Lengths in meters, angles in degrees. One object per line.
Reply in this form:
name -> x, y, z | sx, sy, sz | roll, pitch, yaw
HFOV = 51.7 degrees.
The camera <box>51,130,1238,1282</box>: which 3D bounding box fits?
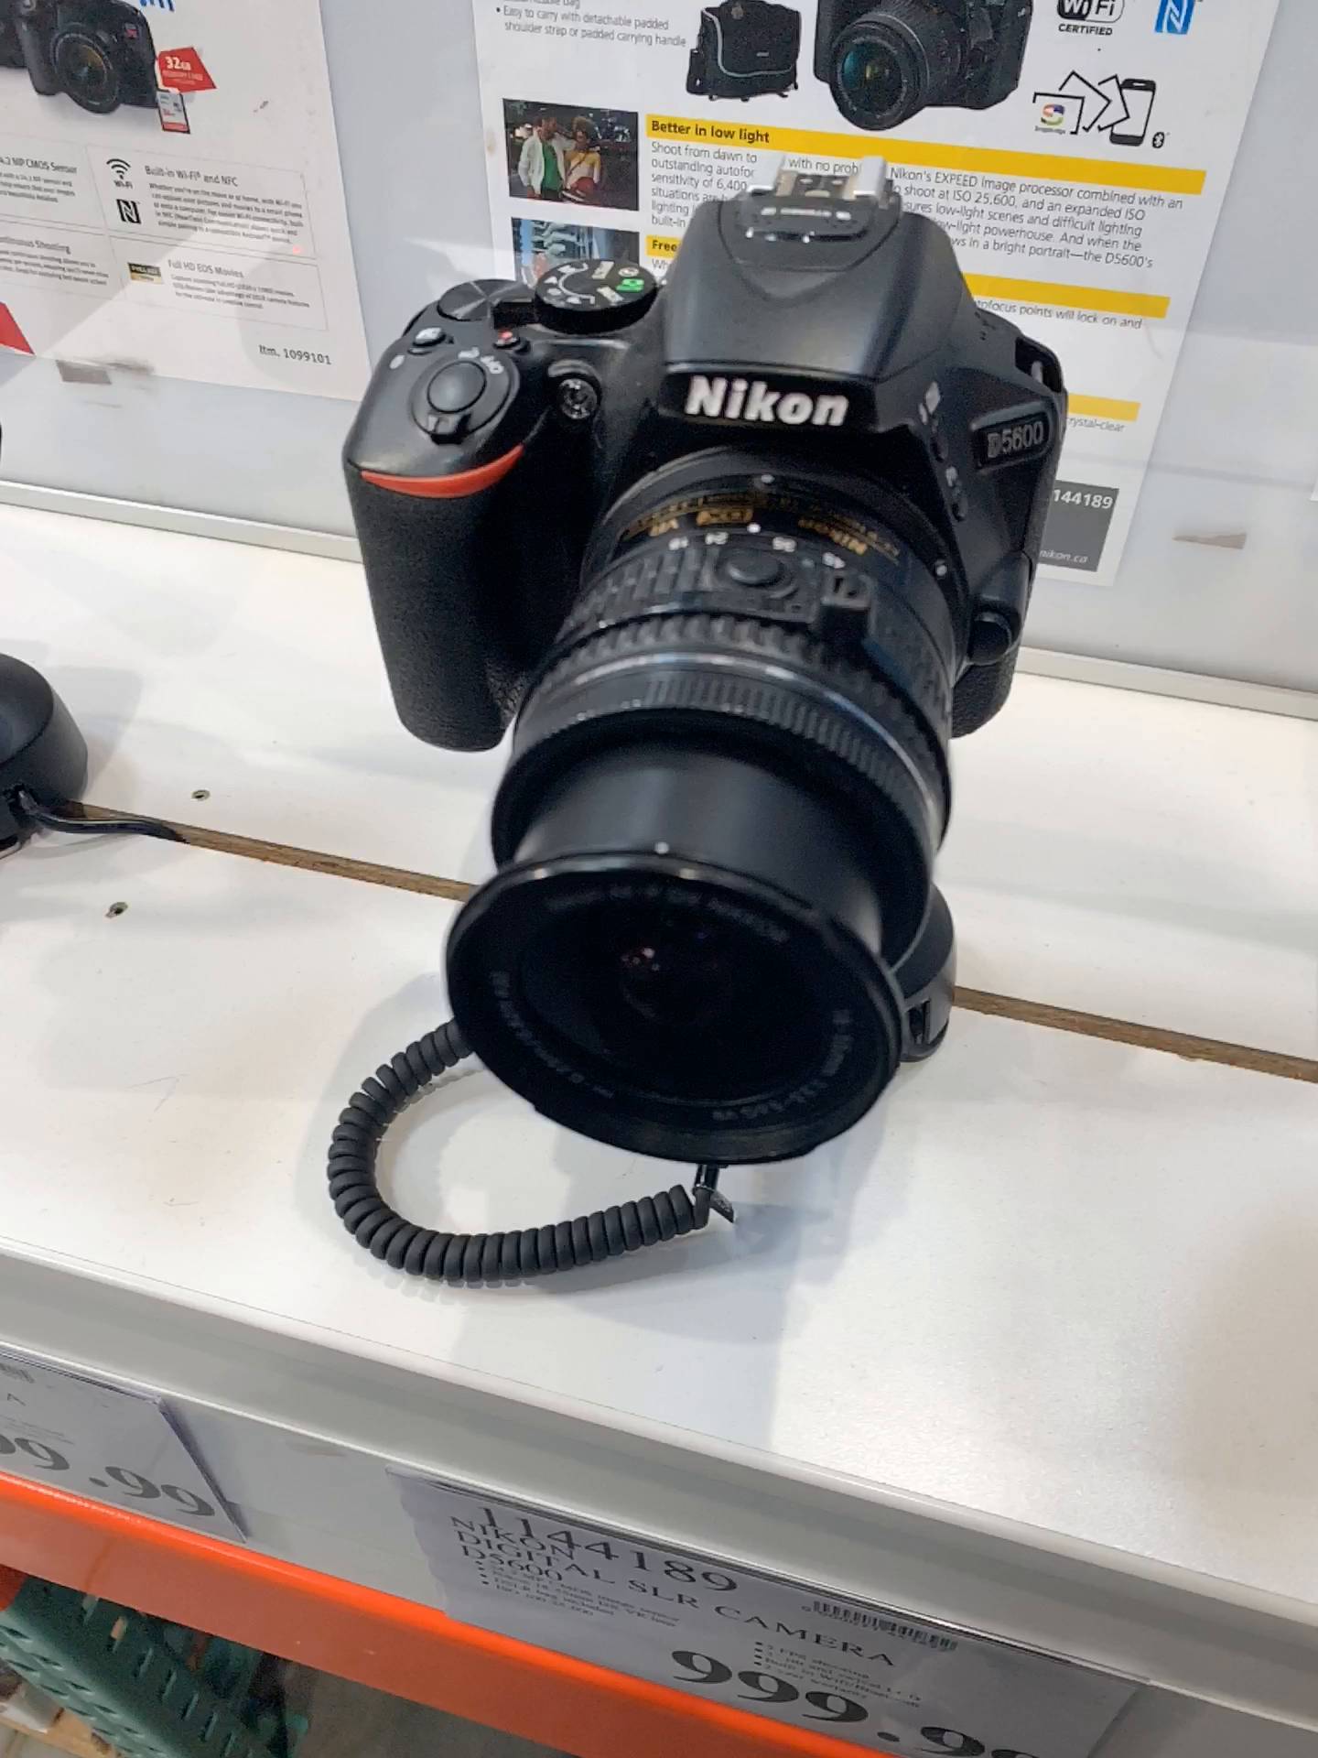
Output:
camera -> 0.011, -0.037, 0.203 | 0.111, 0.090, 0.141 | 9, 46, 9
